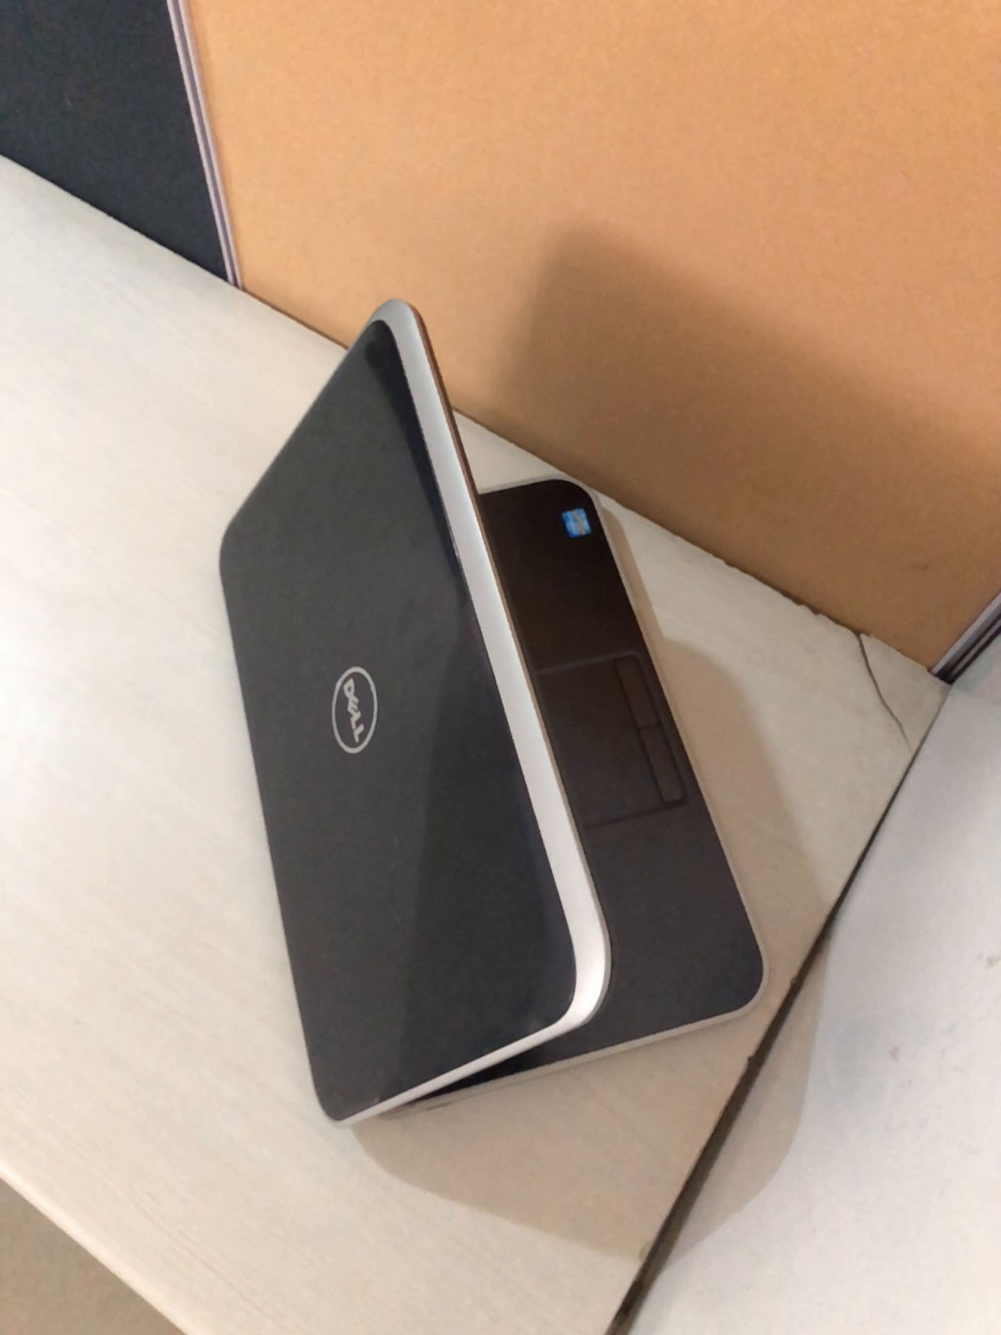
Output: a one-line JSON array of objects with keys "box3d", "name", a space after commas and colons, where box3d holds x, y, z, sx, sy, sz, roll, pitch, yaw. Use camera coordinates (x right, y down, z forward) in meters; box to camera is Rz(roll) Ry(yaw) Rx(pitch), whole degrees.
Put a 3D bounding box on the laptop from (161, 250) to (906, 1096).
[{"box3d": [-0.008, 0.004, 0.572, 0.240, 0.193, 0.348, -12, 66, -8], "name": "laptop"}]
